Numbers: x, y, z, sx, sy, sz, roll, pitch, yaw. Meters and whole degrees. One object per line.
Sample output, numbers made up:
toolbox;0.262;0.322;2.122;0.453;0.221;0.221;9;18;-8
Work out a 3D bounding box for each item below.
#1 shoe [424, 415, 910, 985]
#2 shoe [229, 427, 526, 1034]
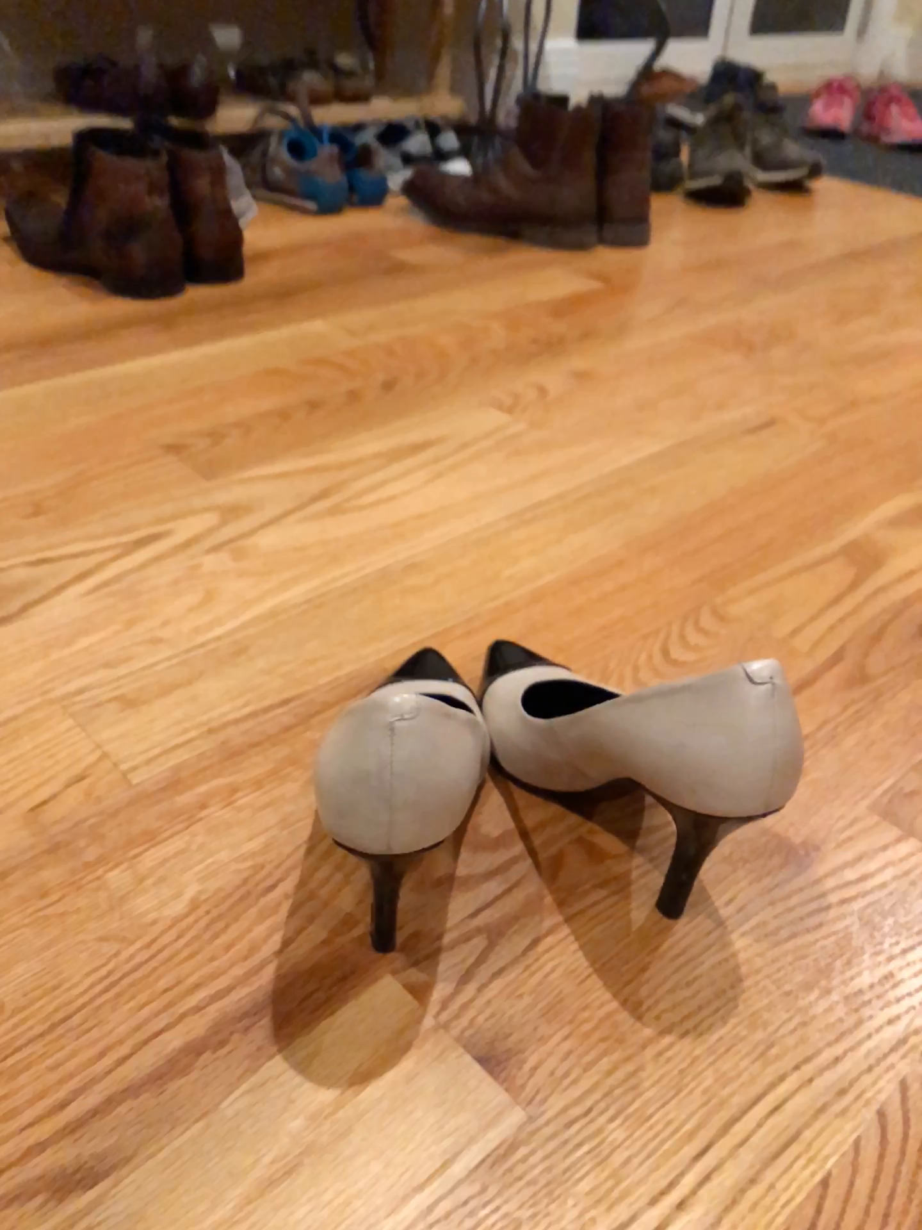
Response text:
shoe;0.070;0.021;0.476;0.085;0.138;0.236;-11;37;-22
shoe;-0.024;0.033;0.450;0.085;0.138;0.237;6;34;2
